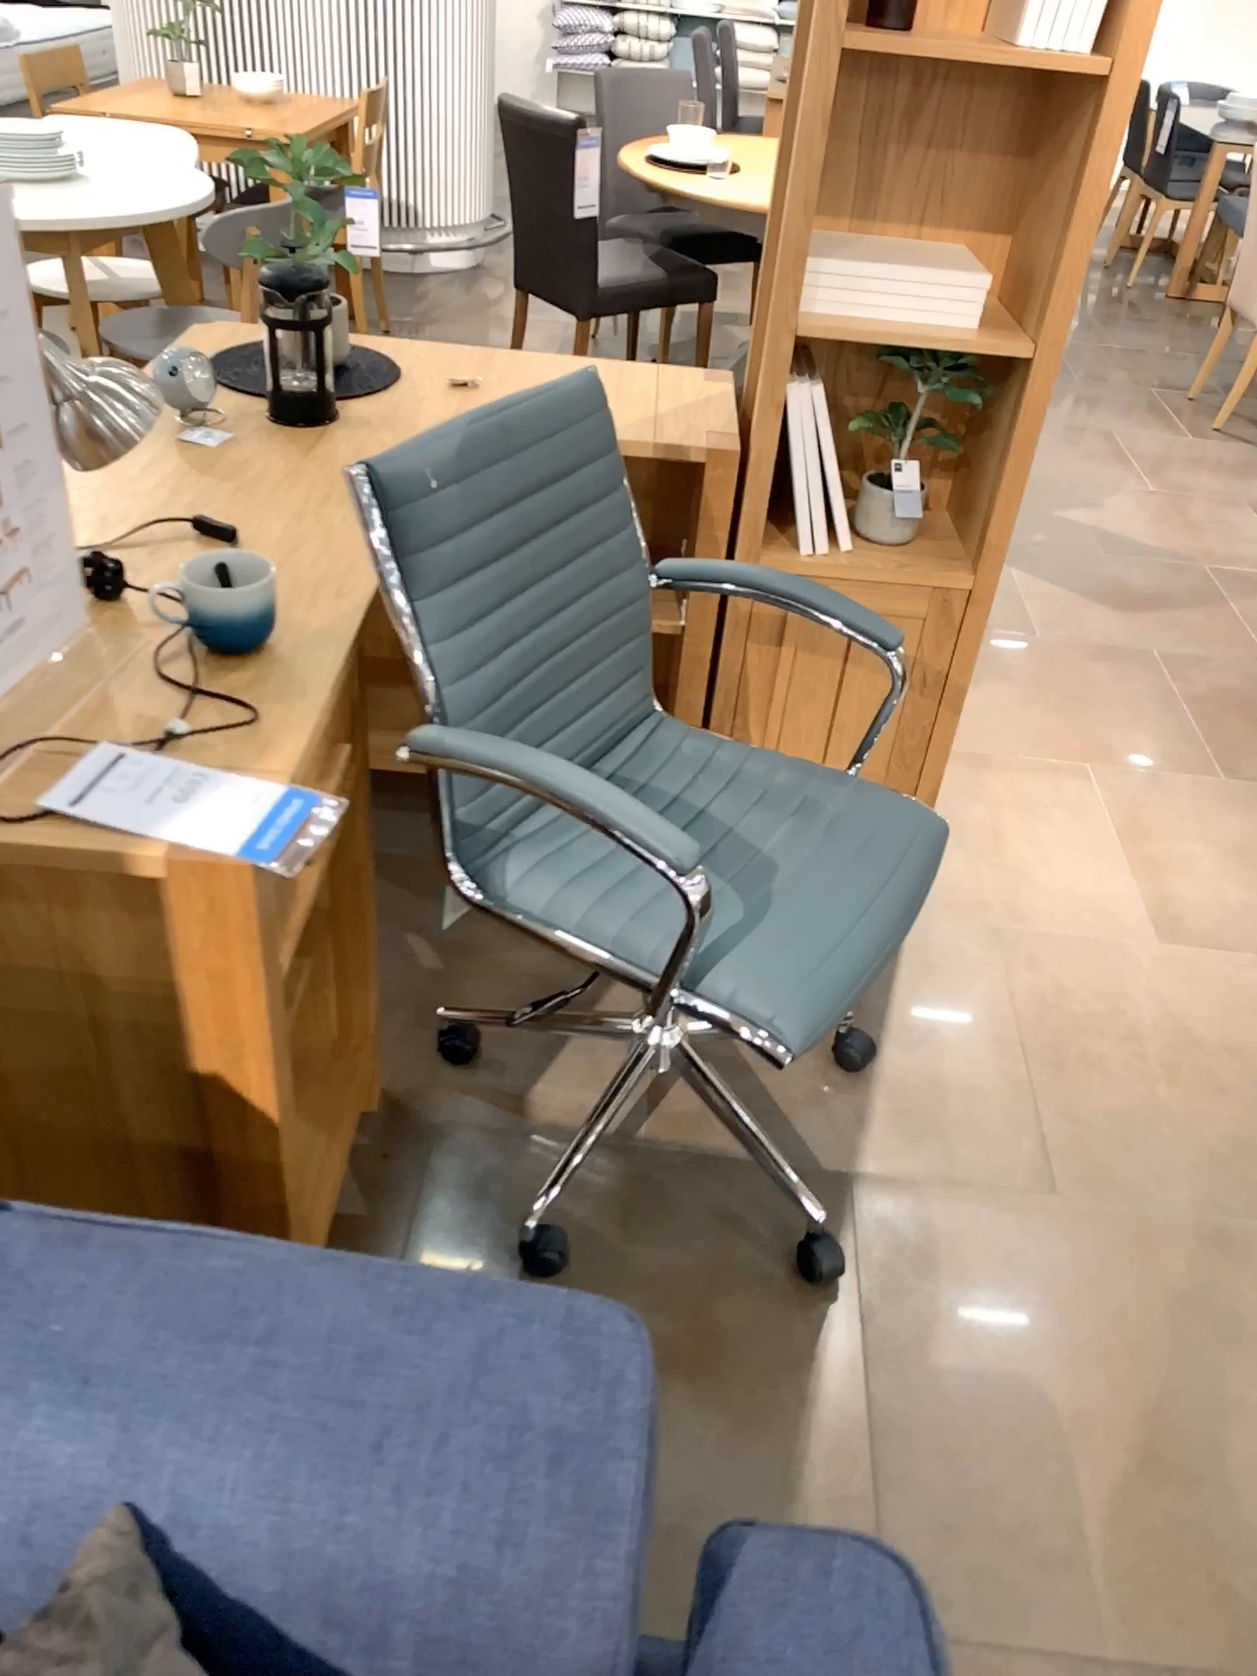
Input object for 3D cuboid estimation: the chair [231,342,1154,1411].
[{"bbox_3d":[0.068,-0.003,1.535,0.709,0.883,0.669,22,39,22],"label":"chair"}]
